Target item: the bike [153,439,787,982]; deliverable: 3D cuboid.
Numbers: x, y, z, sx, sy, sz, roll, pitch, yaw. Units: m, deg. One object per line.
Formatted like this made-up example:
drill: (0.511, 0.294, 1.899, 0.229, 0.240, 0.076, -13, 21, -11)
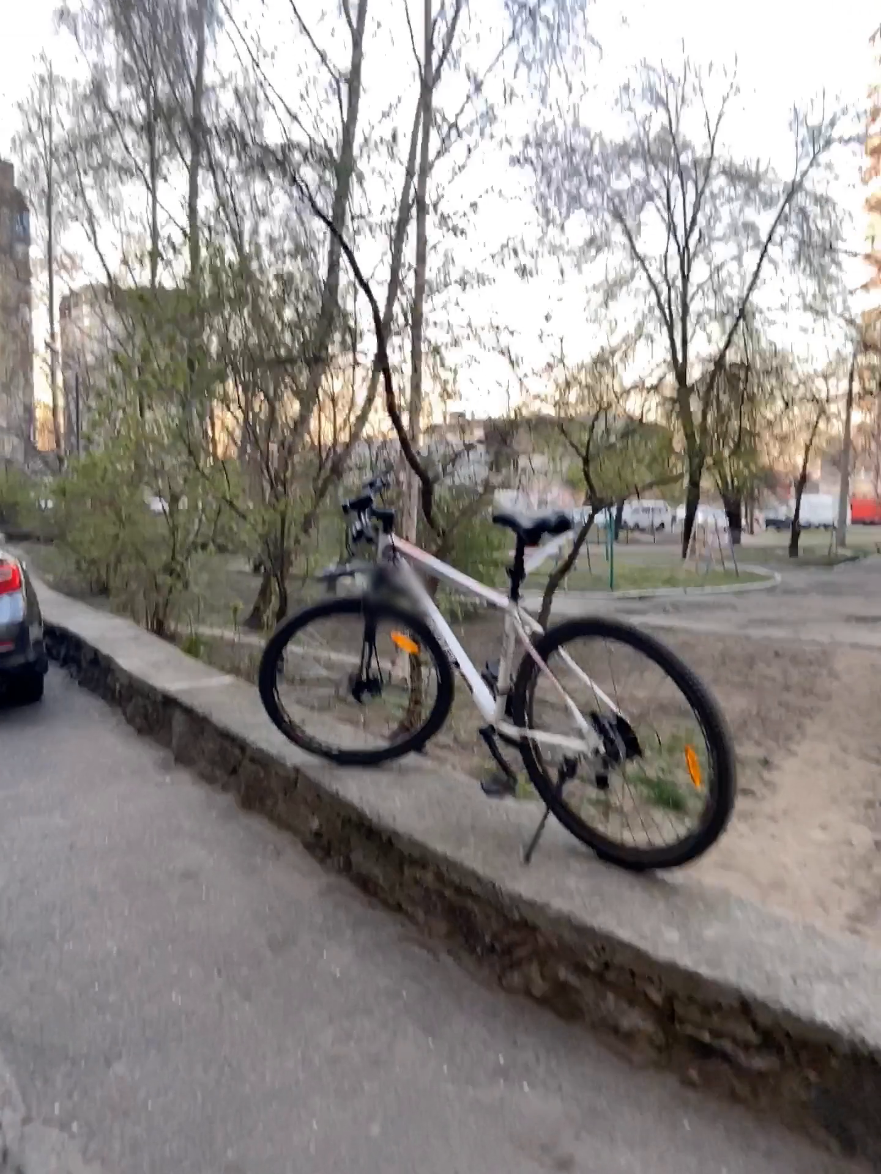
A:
bike: (-0.022, 0.244, 2.662, 1.748, 1.150, 0.679, 1, 4, 39)
